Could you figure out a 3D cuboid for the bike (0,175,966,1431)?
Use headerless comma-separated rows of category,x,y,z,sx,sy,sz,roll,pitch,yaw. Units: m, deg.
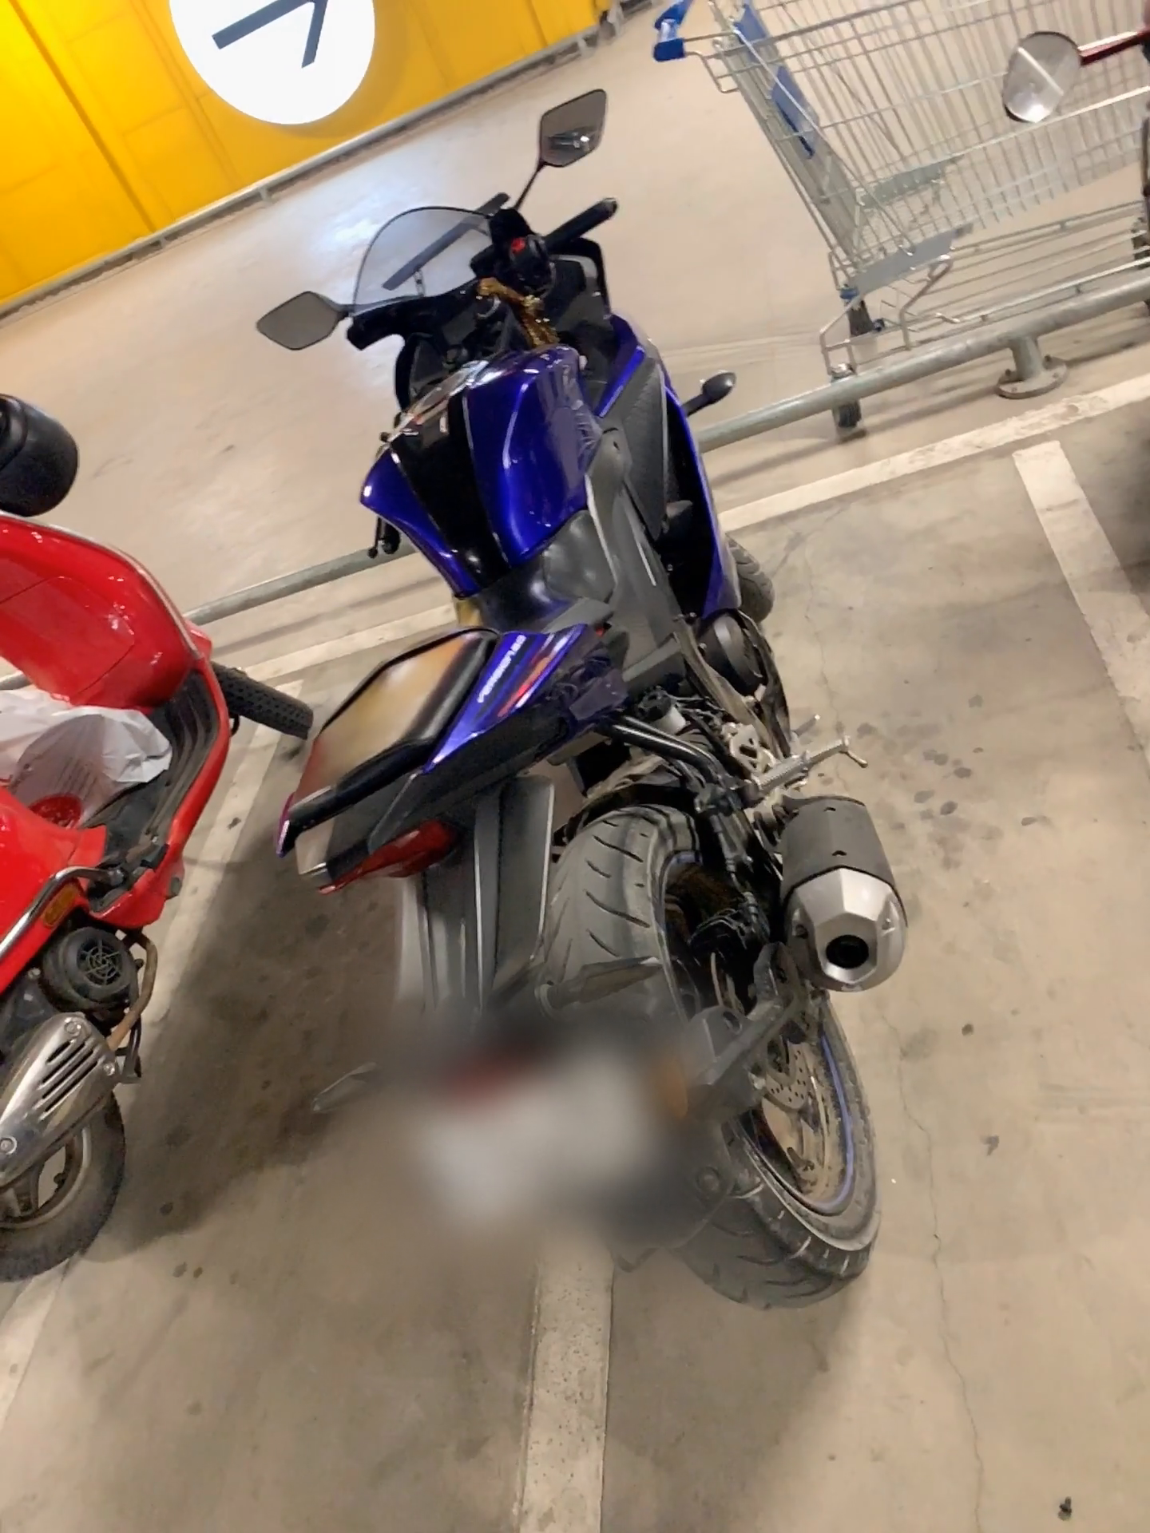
bike,-0.224,-0.089,1.781,0.687,0.933,1.658,-24,39,7
